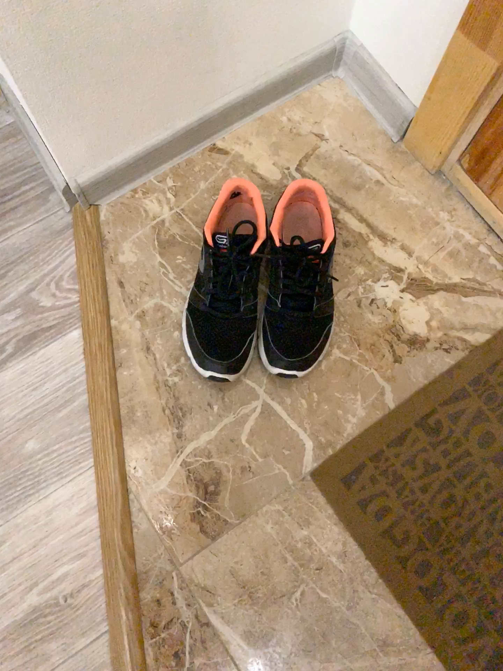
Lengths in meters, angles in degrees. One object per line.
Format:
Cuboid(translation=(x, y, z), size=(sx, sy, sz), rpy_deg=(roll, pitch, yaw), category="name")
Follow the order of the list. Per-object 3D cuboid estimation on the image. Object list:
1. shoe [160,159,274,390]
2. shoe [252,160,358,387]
Cuboid(translation=(-0.036, -0.071, 0.623), size=(0.100, 0.100, 0.250), rpy_deg=(6, 73, 0), category="shoe")
Cuboid(translation=(0.064, -0.072, 0.624), size=(0.100, 0.100, 0.244), rpy_deg=(6, 73, 0), category="shoe")
